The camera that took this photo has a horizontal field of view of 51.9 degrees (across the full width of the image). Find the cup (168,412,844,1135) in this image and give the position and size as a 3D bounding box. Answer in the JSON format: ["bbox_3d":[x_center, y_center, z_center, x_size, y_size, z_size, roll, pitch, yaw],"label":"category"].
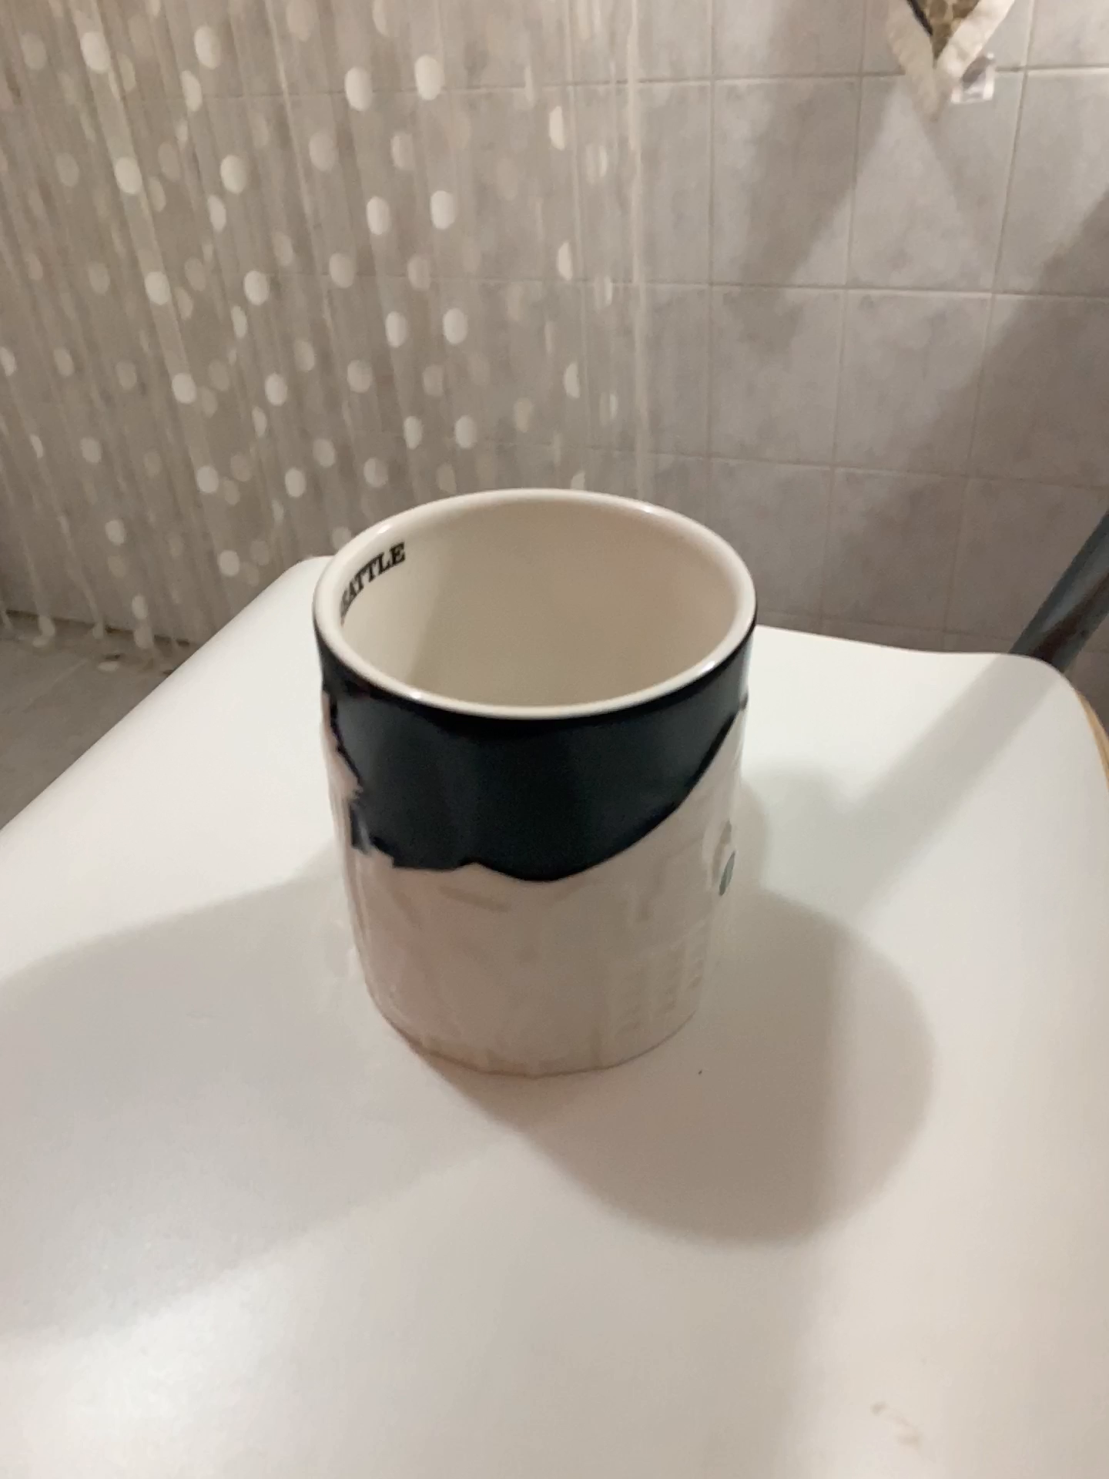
[{"bbox_3d":[0.003,-0.005,0.287,0.104,0.100,0.144,10,38,20],"label":"cup"}]
